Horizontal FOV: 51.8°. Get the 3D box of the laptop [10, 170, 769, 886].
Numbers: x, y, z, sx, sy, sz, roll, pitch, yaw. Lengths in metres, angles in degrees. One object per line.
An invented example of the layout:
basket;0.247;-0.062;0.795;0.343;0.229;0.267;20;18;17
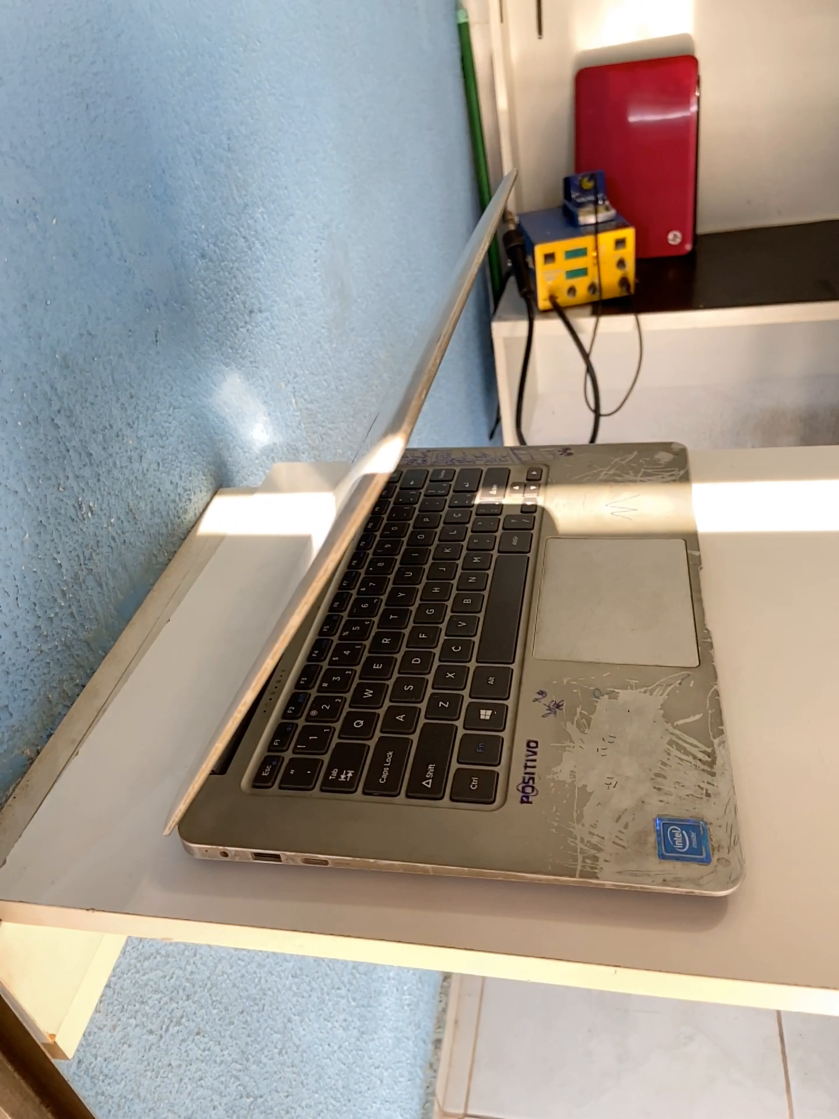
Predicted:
laptop;0.026;-0.050;0.409;0.211;0.167;0.328;0;35;14
